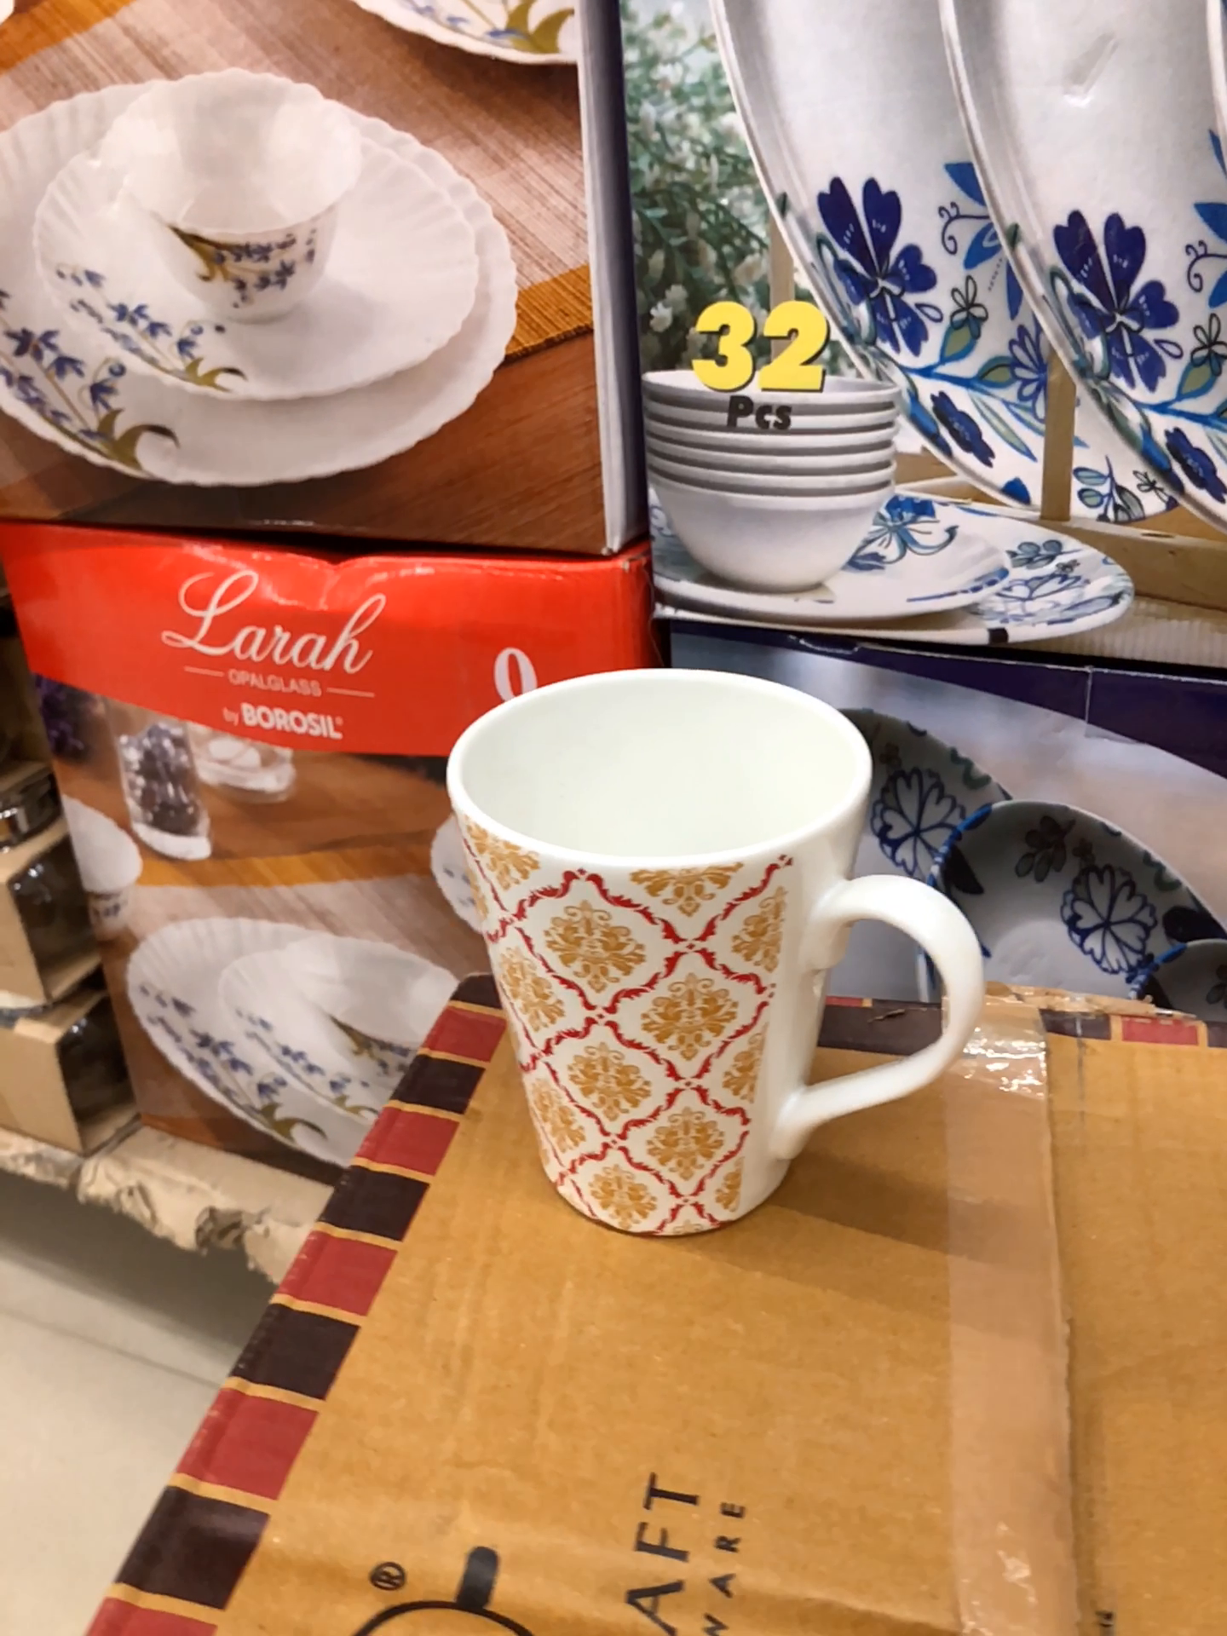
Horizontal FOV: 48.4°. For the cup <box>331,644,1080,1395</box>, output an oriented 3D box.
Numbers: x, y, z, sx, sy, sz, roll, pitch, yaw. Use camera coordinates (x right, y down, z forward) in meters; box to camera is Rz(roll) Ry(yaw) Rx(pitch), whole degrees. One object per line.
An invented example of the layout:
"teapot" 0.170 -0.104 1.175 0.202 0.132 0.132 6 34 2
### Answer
"cup" 0.020 0.029 0.277 0.110 0.089 0.090 15 32 35
